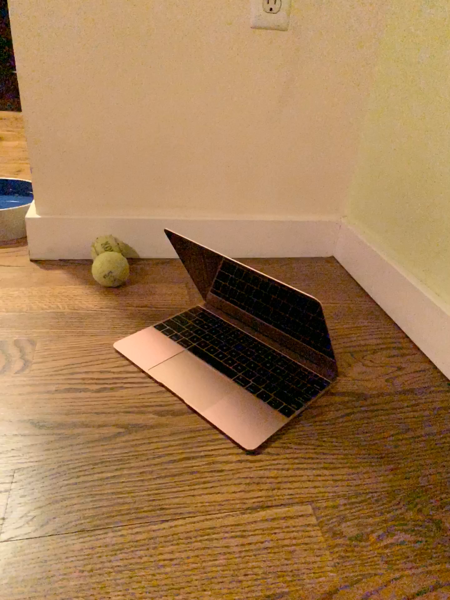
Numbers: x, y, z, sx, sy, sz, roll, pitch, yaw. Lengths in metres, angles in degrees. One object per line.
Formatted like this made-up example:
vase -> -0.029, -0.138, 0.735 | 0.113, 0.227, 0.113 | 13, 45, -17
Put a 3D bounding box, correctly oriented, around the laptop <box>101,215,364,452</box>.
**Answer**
laptop -> 0.000, 0.020, 0.660 | 0.288, 0.168, 0.207 | 28, 37, 35
